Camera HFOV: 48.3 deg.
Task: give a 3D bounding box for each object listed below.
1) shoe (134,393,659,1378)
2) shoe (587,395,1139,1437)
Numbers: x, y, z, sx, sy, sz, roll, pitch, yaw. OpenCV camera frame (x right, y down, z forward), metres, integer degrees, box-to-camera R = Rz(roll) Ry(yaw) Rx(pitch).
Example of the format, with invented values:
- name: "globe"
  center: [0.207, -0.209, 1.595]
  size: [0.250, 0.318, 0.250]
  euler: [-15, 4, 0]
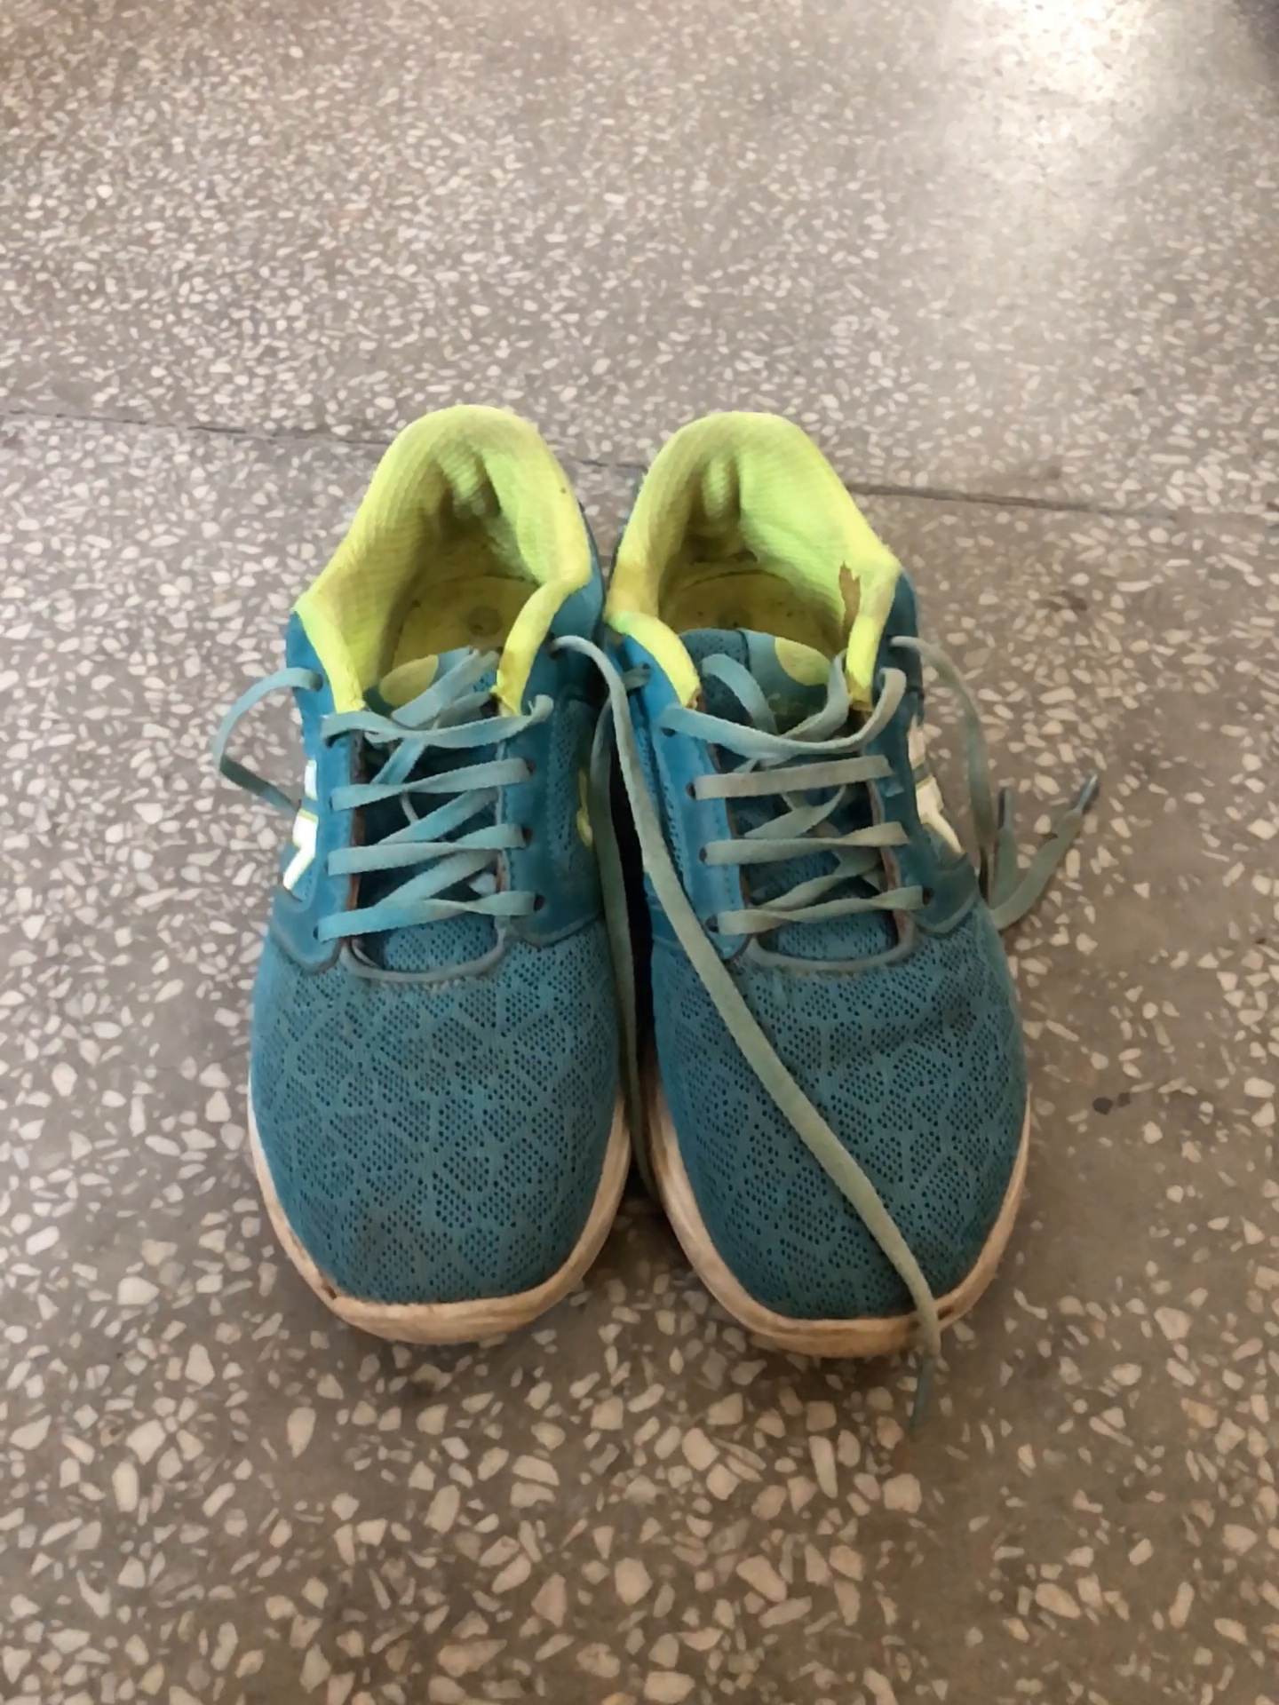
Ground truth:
- name: "shoe"
  center: [-0.041, -0.005, 0.353]
  size: [0.090, 0.080, 0.241]
  euler: [0, 54, 2]
- name: "shoe"
  center: [0.039, 0.005, 0.357]
  size: [0.100, 0.080, 0.251]
  euler: [-2, 59, 1]
